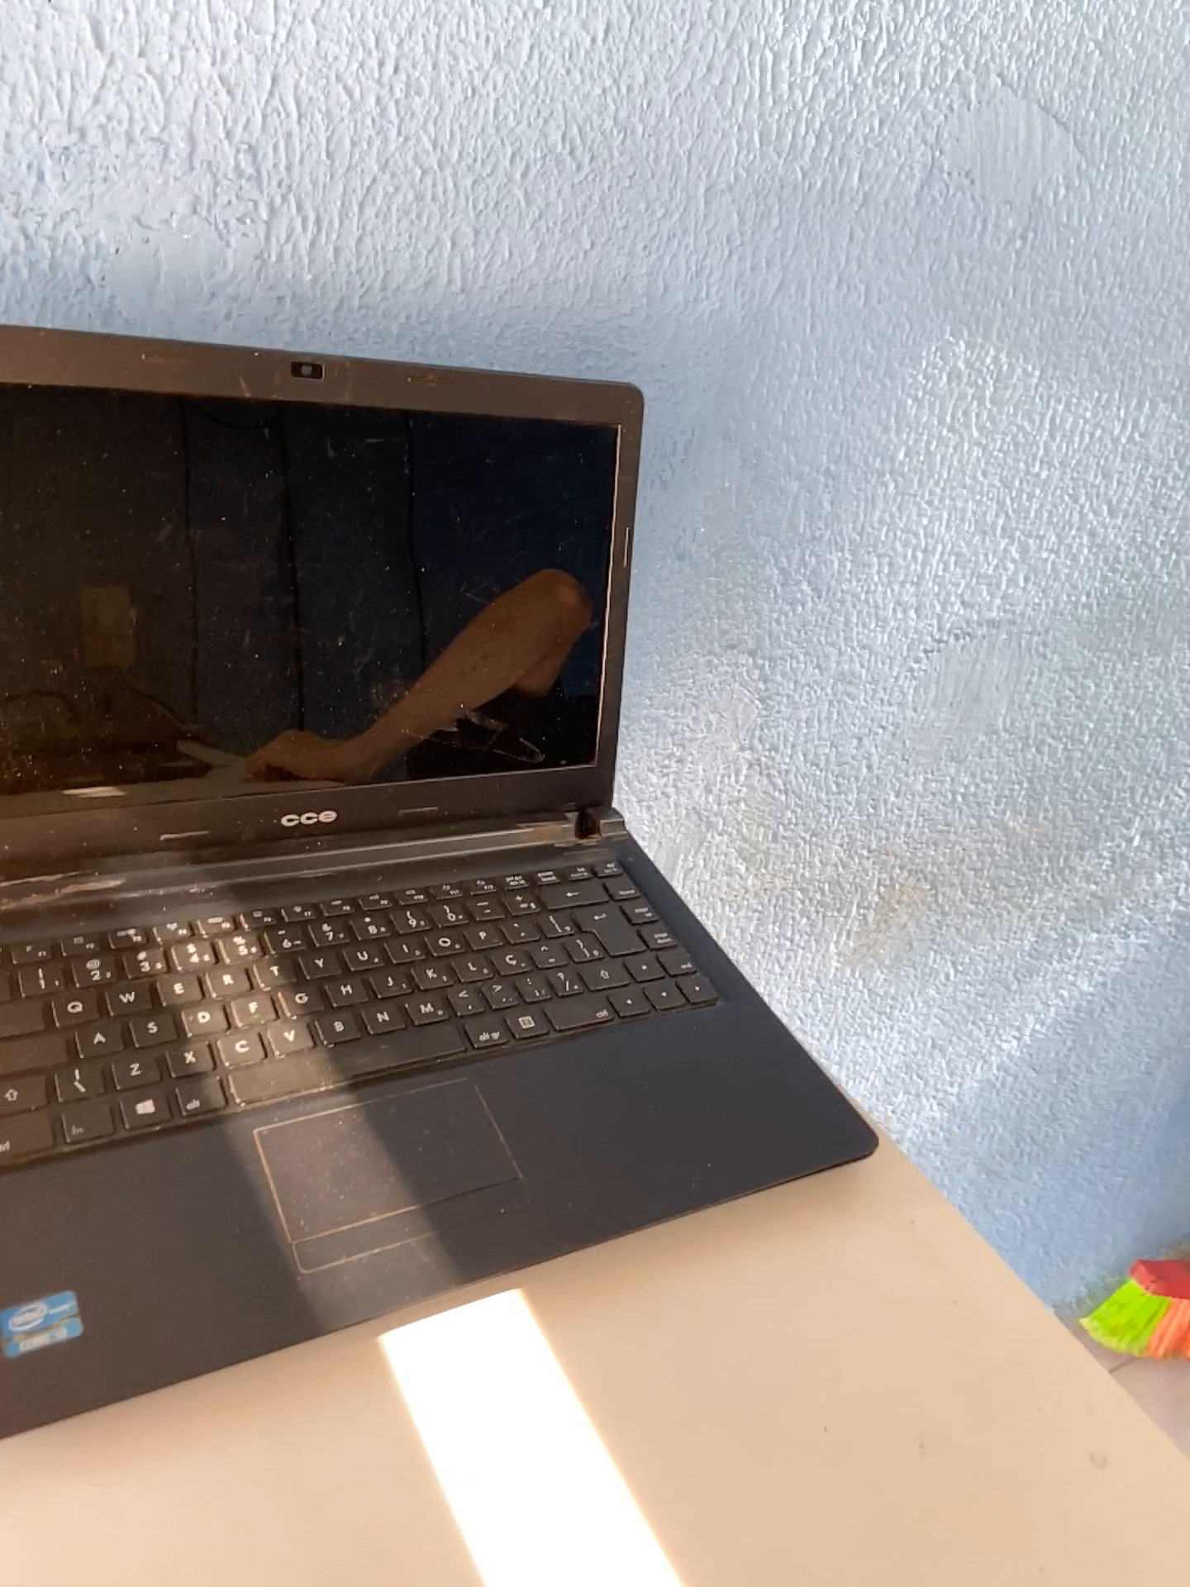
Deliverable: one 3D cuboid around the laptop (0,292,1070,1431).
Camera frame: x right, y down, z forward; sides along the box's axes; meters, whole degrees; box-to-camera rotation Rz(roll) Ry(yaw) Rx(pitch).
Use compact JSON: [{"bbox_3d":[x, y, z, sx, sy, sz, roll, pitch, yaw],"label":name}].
[{"bbox_3d":[-0.076,-0.021,0.477,0.334,0.211,0.313,-5,35,-29],"label":"laptop"}]
